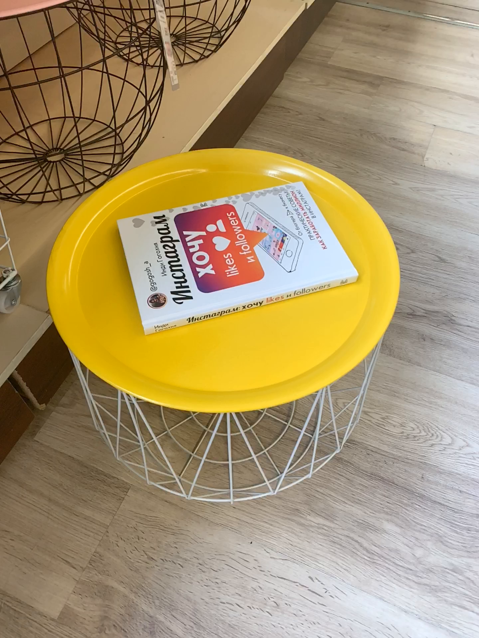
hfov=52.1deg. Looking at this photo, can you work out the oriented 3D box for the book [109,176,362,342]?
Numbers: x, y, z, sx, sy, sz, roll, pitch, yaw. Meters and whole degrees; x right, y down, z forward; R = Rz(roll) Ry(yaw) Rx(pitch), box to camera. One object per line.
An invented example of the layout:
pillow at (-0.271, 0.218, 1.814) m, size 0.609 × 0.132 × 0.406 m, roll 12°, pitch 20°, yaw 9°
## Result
book at (-0.011, -0.079, 0.554) m, size 0.240 × 0.020 × 0.171 m, roll -15°, pitch 55°, yaw -11°
